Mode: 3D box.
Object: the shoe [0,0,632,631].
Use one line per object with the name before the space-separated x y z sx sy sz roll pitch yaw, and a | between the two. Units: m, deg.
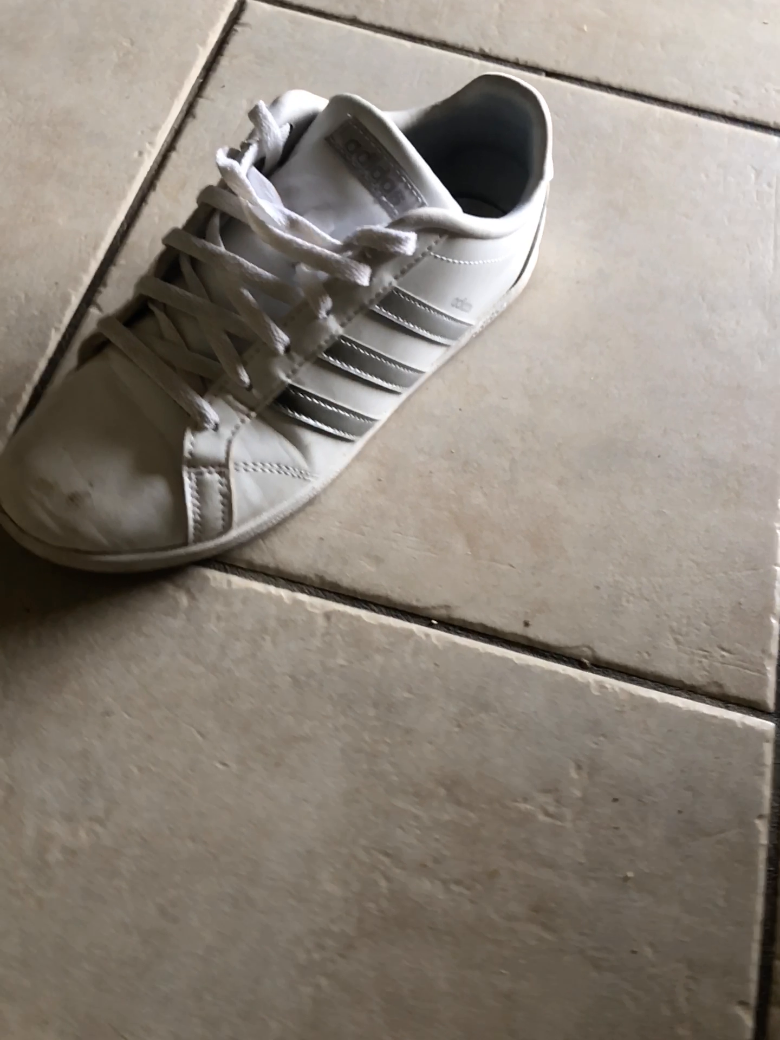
shoe | -0.042 -0.092 0.330 0.271 0.100 0.090 -40 74 -21
